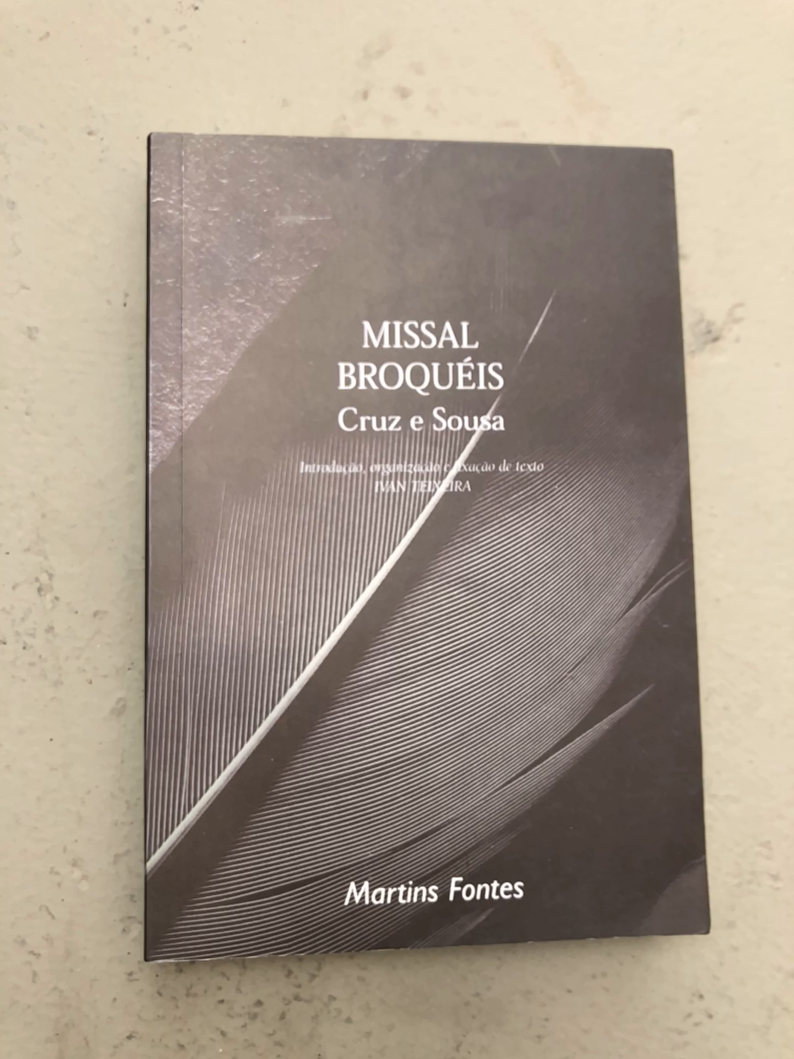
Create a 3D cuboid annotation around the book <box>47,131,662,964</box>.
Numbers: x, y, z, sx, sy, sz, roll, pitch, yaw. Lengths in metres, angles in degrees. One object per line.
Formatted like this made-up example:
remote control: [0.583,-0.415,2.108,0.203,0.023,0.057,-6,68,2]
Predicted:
book: [-0.009,0.001,0.201,0.128,0.016,0.173,-1,85,-6]
